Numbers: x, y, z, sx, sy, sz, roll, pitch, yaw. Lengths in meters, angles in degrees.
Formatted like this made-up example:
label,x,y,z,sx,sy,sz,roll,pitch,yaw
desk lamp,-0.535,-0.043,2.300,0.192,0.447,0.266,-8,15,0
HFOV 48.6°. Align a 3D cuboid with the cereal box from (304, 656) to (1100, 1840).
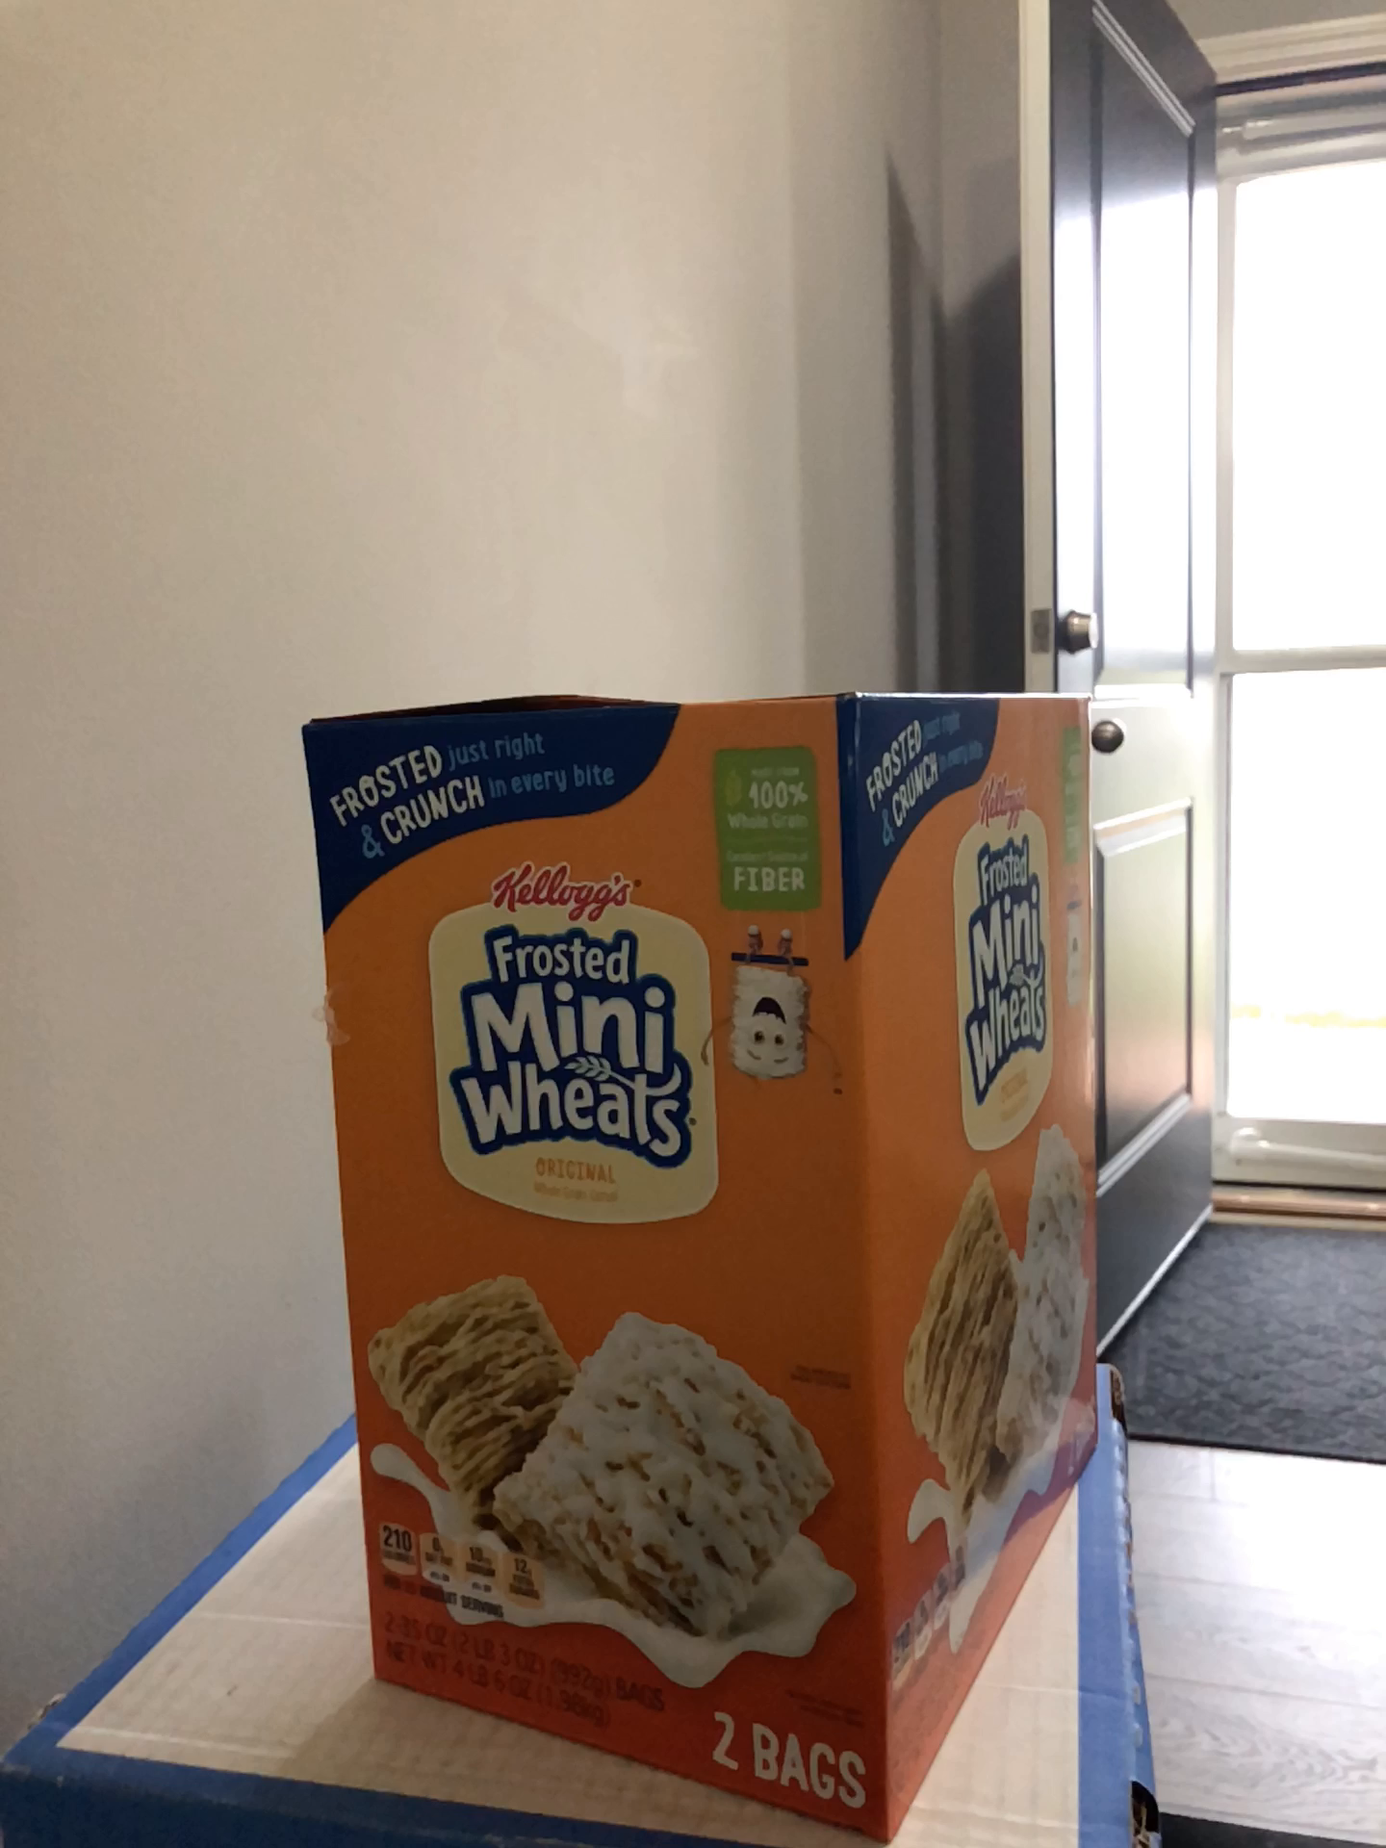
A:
label,x,y,z,sx,sy,sz,roll,pitch,yaw
cereal box,0.027,0.065,0.510,0.160,0.290,0.250,1,8,27
